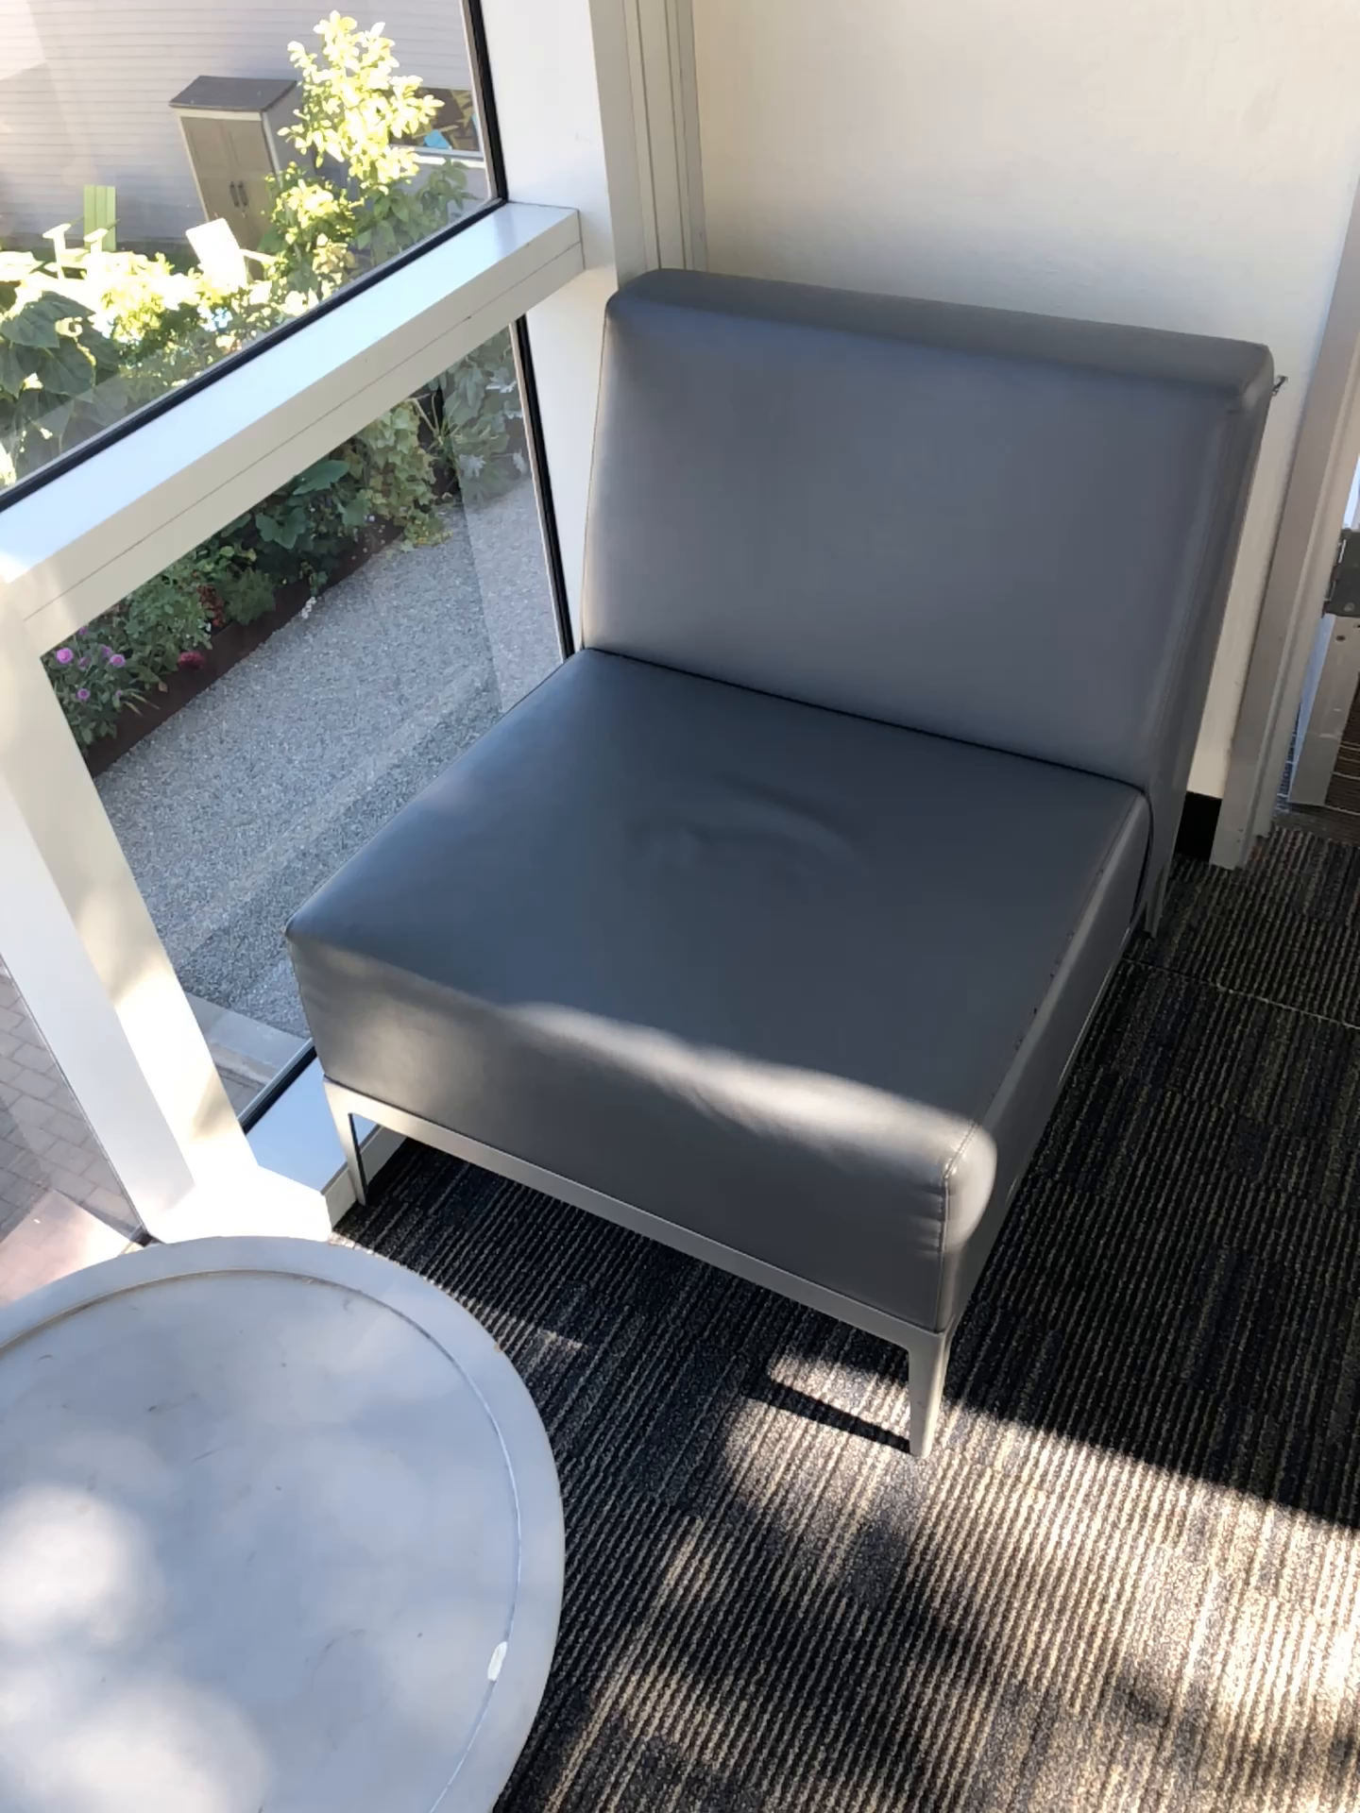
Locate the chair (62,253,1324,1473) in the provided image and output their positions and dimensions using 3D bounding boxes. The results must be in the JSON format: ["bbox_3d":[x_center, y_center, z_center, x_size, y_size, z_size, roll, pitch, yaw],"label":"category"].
[{"bbox_3d":[0.069,-0.106,1.465,0.772,0.707,0.752,18,47,24],"label":"chair"}]
